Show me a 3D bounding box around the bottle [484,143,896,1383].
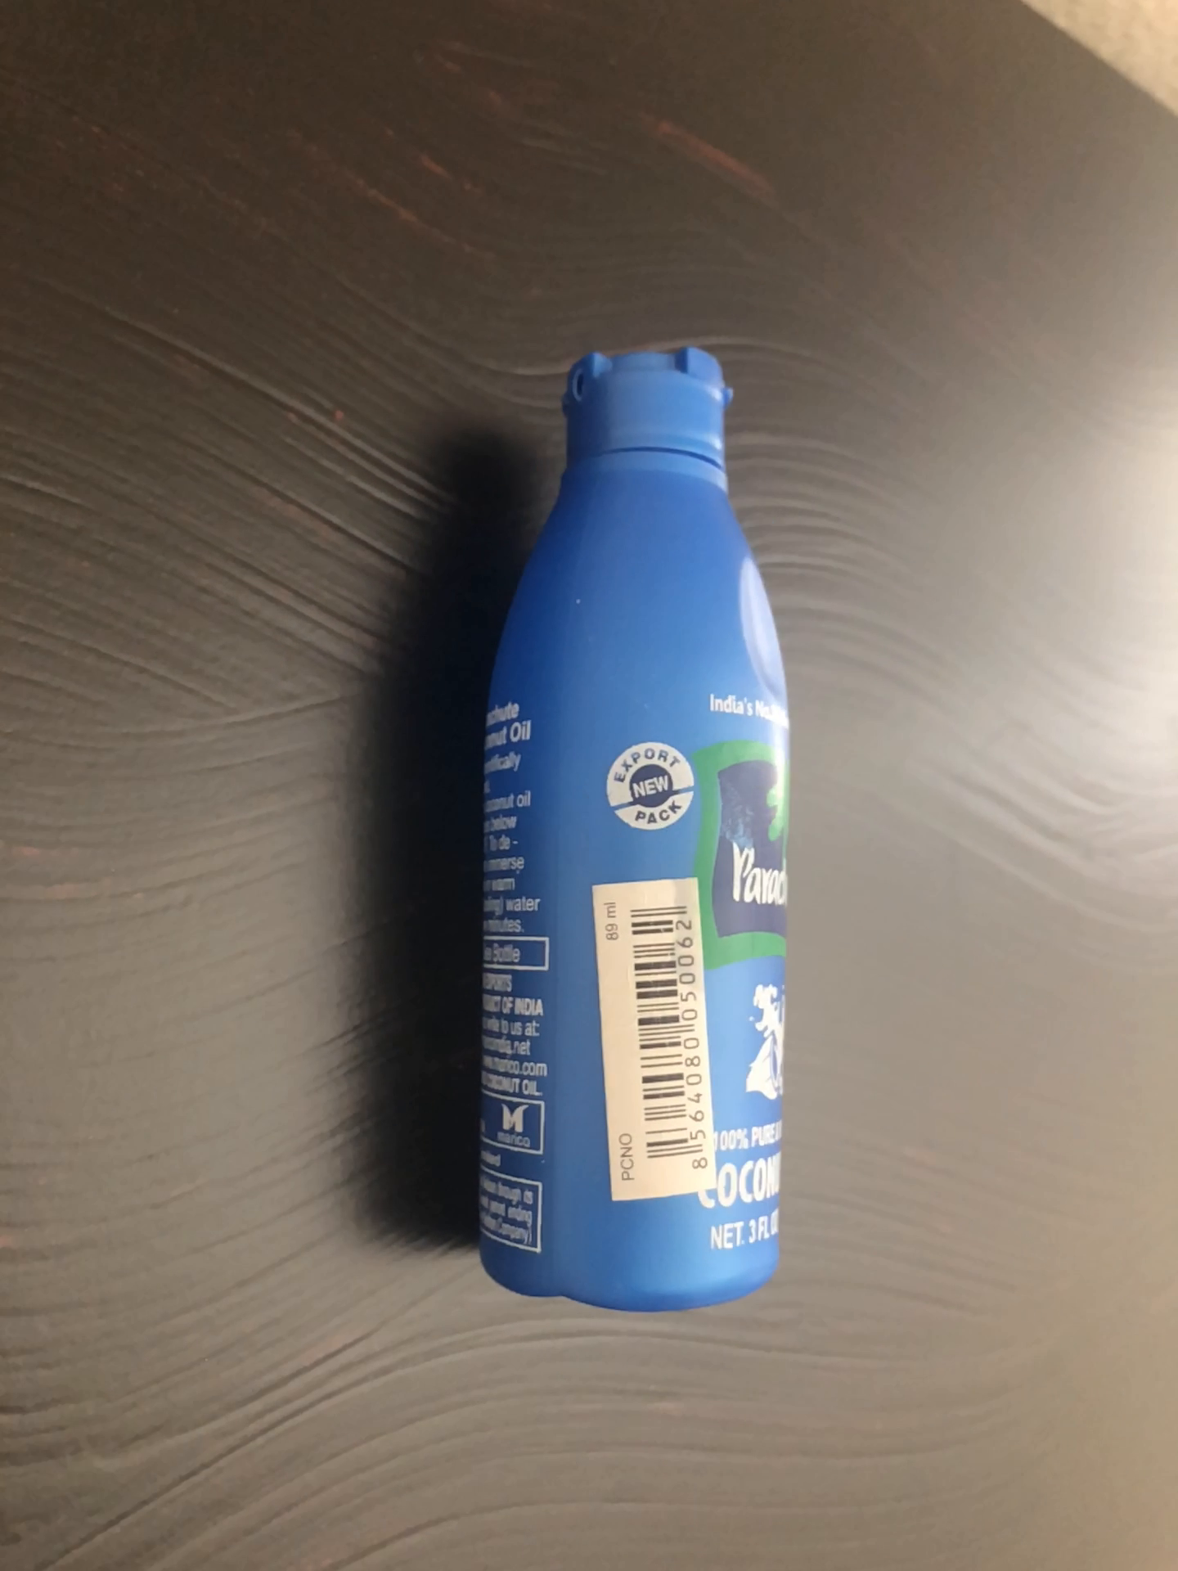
[{"bbox_3d":[0.016,-0.003,0.175,0.040,0.040,0.140,17,73,-65],"label":"bottle"}]
